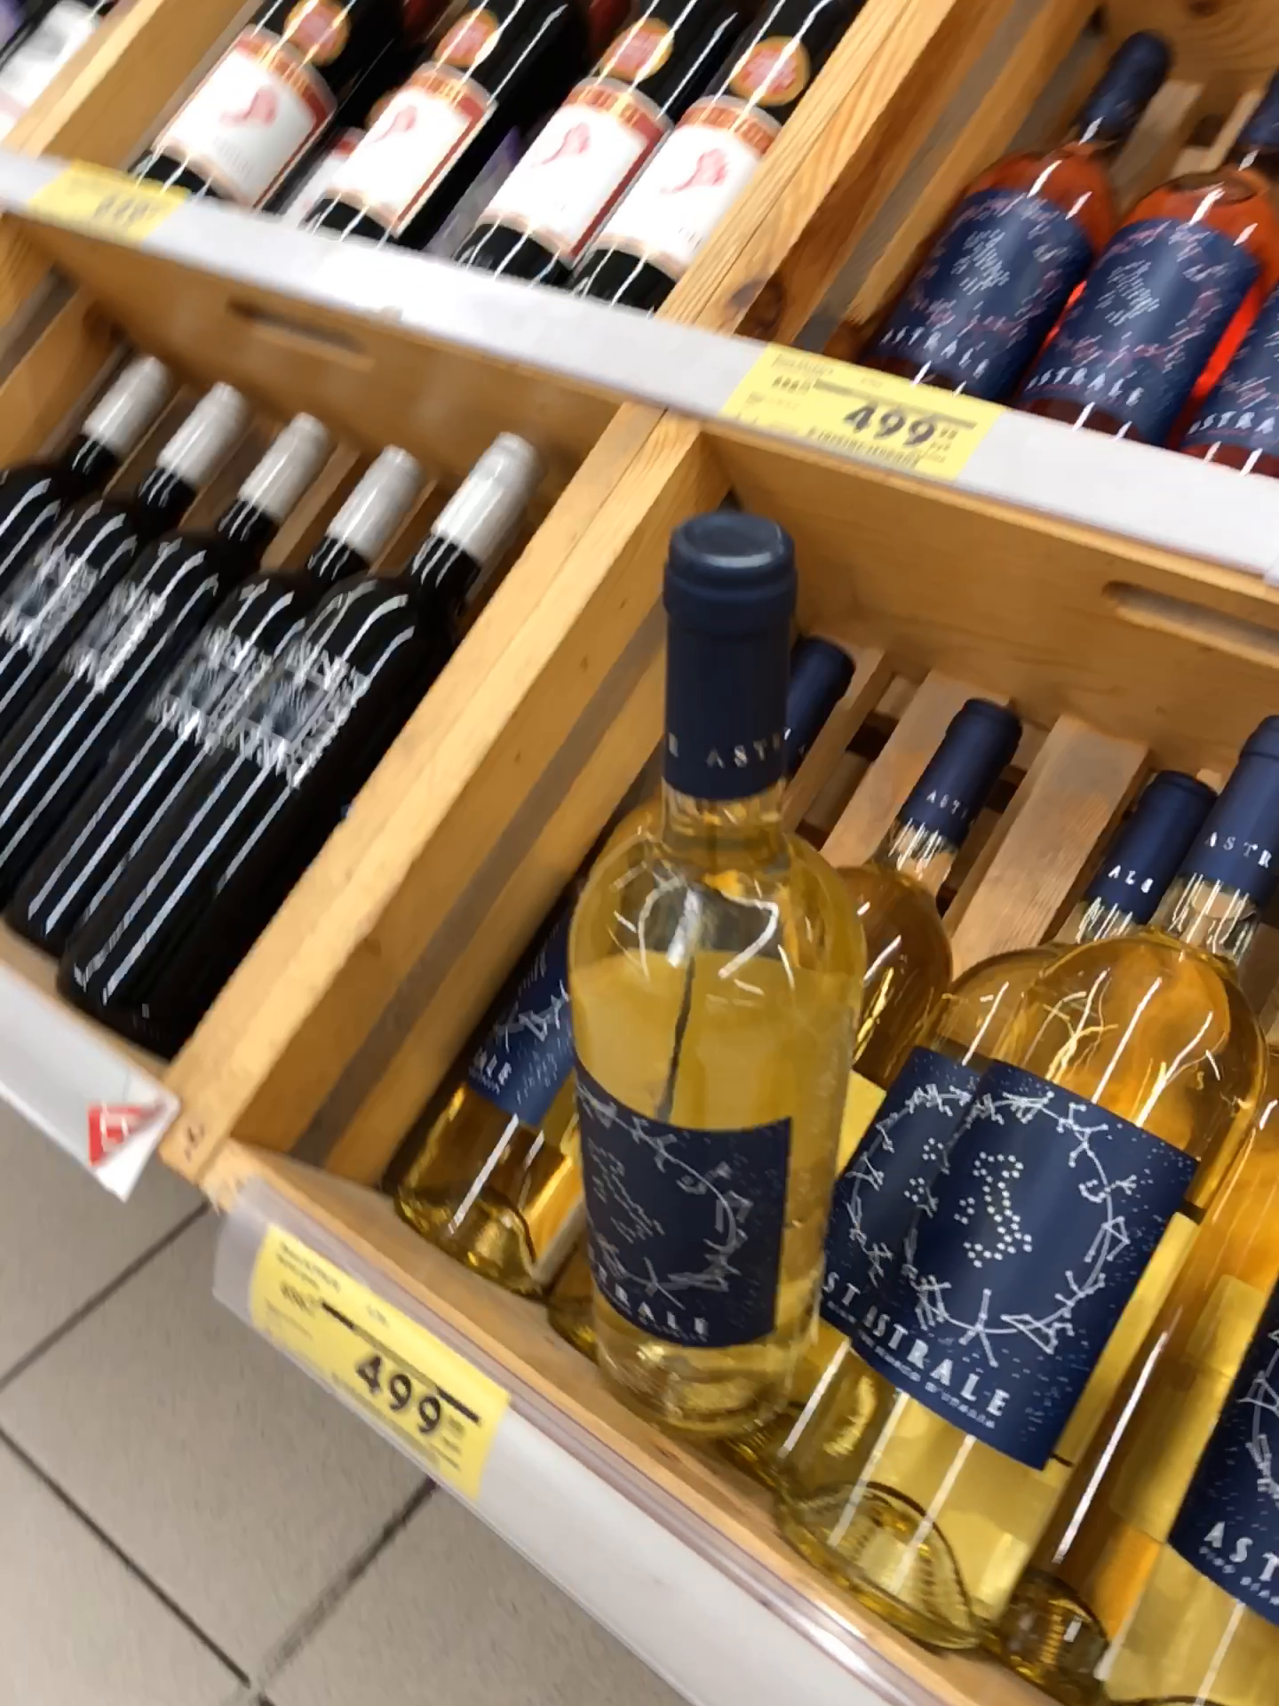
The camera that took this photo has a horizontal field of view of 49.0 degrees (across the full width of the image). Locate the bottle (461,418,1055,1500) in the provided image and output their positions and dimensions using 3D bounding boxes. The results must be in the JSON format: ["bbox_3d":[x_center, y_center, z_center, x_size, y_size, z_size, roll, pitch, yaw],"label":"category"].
[{"bbox_3d":[0.022,0.044,0.372,0.080,0.278,0.090,-30,48,-32],"label":"bottle"}]
